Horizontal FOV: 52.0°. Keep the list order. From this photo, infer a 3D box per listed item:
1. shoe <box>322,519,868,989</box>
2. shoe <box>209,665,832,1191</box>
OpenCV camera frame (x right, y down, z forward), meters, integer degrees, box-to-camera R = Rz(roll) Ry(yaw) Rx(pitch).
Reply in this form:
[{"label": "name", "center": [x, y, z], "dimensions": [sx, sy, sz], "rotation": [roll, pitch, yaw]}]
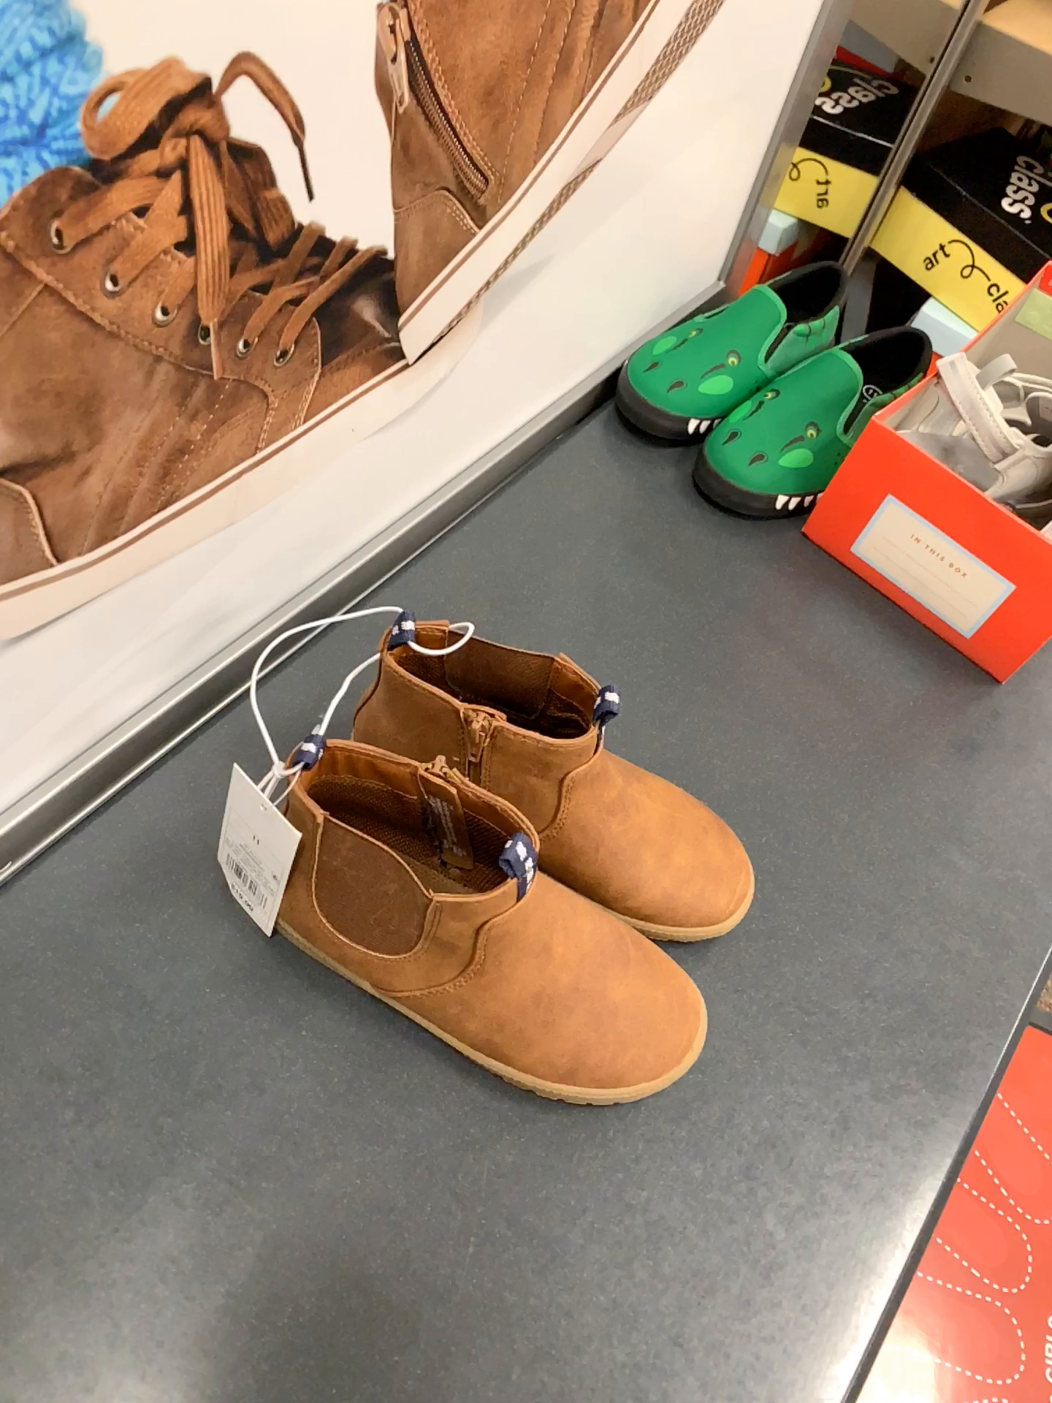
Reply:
[{"label": "shoe", "center": [0.023, 0.023, 0.448], "dimensions": [0.190, 0.100, 0.087], "rotation": [24, 54, 4]}, {"label": "shoe", "center": [-0.006, 0.085, 0.396], "dimensions": [0.190, 0.100, 0.087], "rotation": [24, 54, 4]}]
